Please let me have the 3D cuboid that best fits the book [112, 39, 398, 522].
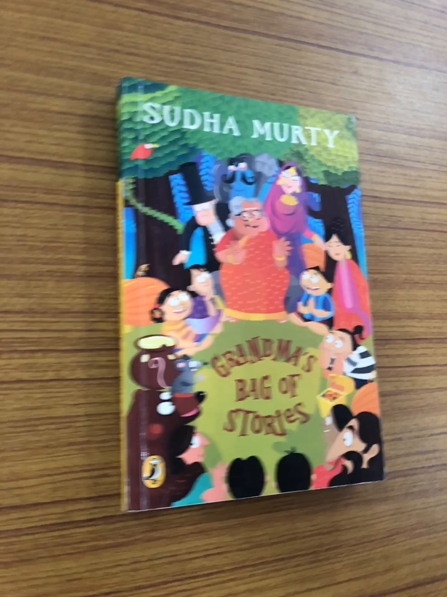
[{"bbox_3d":[0.014,-0.012,0.251,0.130,0.030,0.210,0,82,-20],"label":"book"}]
